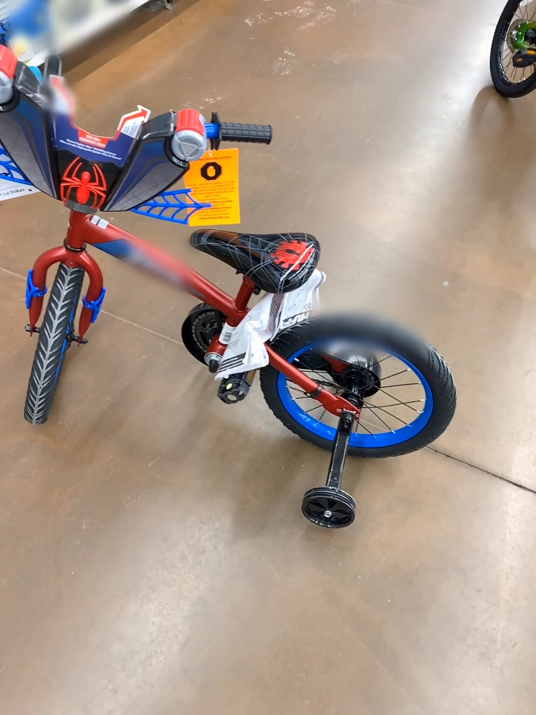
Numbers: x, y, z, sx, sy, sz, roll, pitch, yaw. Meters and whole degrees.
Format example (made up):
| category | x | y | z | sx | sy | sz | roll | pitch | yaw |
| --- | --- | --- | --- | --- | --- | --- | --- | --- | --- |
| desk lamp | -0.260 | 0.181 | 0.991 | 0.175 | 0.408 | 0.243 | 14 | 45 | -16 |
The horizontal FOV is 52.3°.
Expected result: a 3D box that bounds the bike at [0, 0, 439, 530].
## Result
| category | x | y | z | sx | sy | sz | roll | pitch | yaw |
| --- | --- | --- | --- | --- | --- | --- | --- | --- | --- |
| bike | -0.122 | -0.108 | 0.820 | 0.565 | 0.709 | 0.477 | 5 | 51 | 2 |
